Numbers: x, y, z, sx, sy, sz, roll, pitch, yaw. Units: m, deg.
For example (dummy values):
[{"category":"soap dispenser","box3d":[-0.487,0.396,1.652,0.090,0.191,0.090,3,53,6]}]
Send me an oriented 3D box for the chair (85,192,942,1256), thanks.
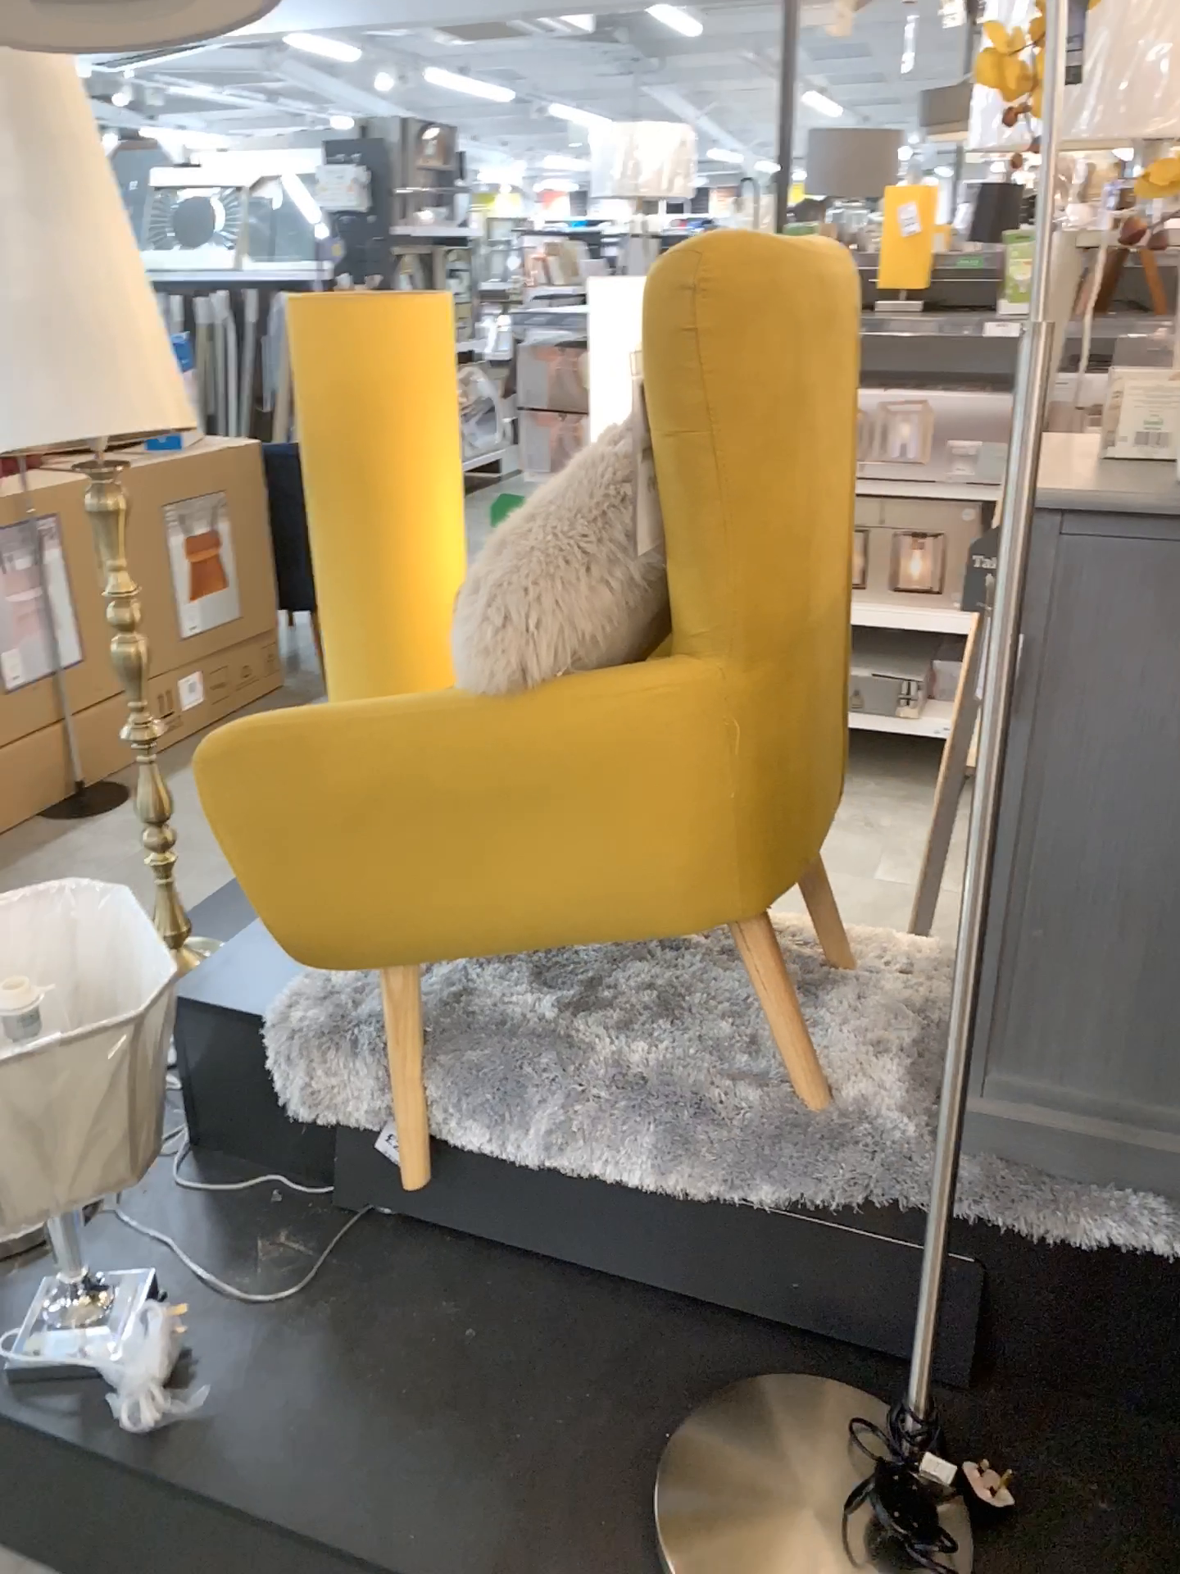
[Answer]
[{"category":"chair","box3d":[0.012,-0.086,1.477,0.710,1.023,0.594,-2,21,21]}]
